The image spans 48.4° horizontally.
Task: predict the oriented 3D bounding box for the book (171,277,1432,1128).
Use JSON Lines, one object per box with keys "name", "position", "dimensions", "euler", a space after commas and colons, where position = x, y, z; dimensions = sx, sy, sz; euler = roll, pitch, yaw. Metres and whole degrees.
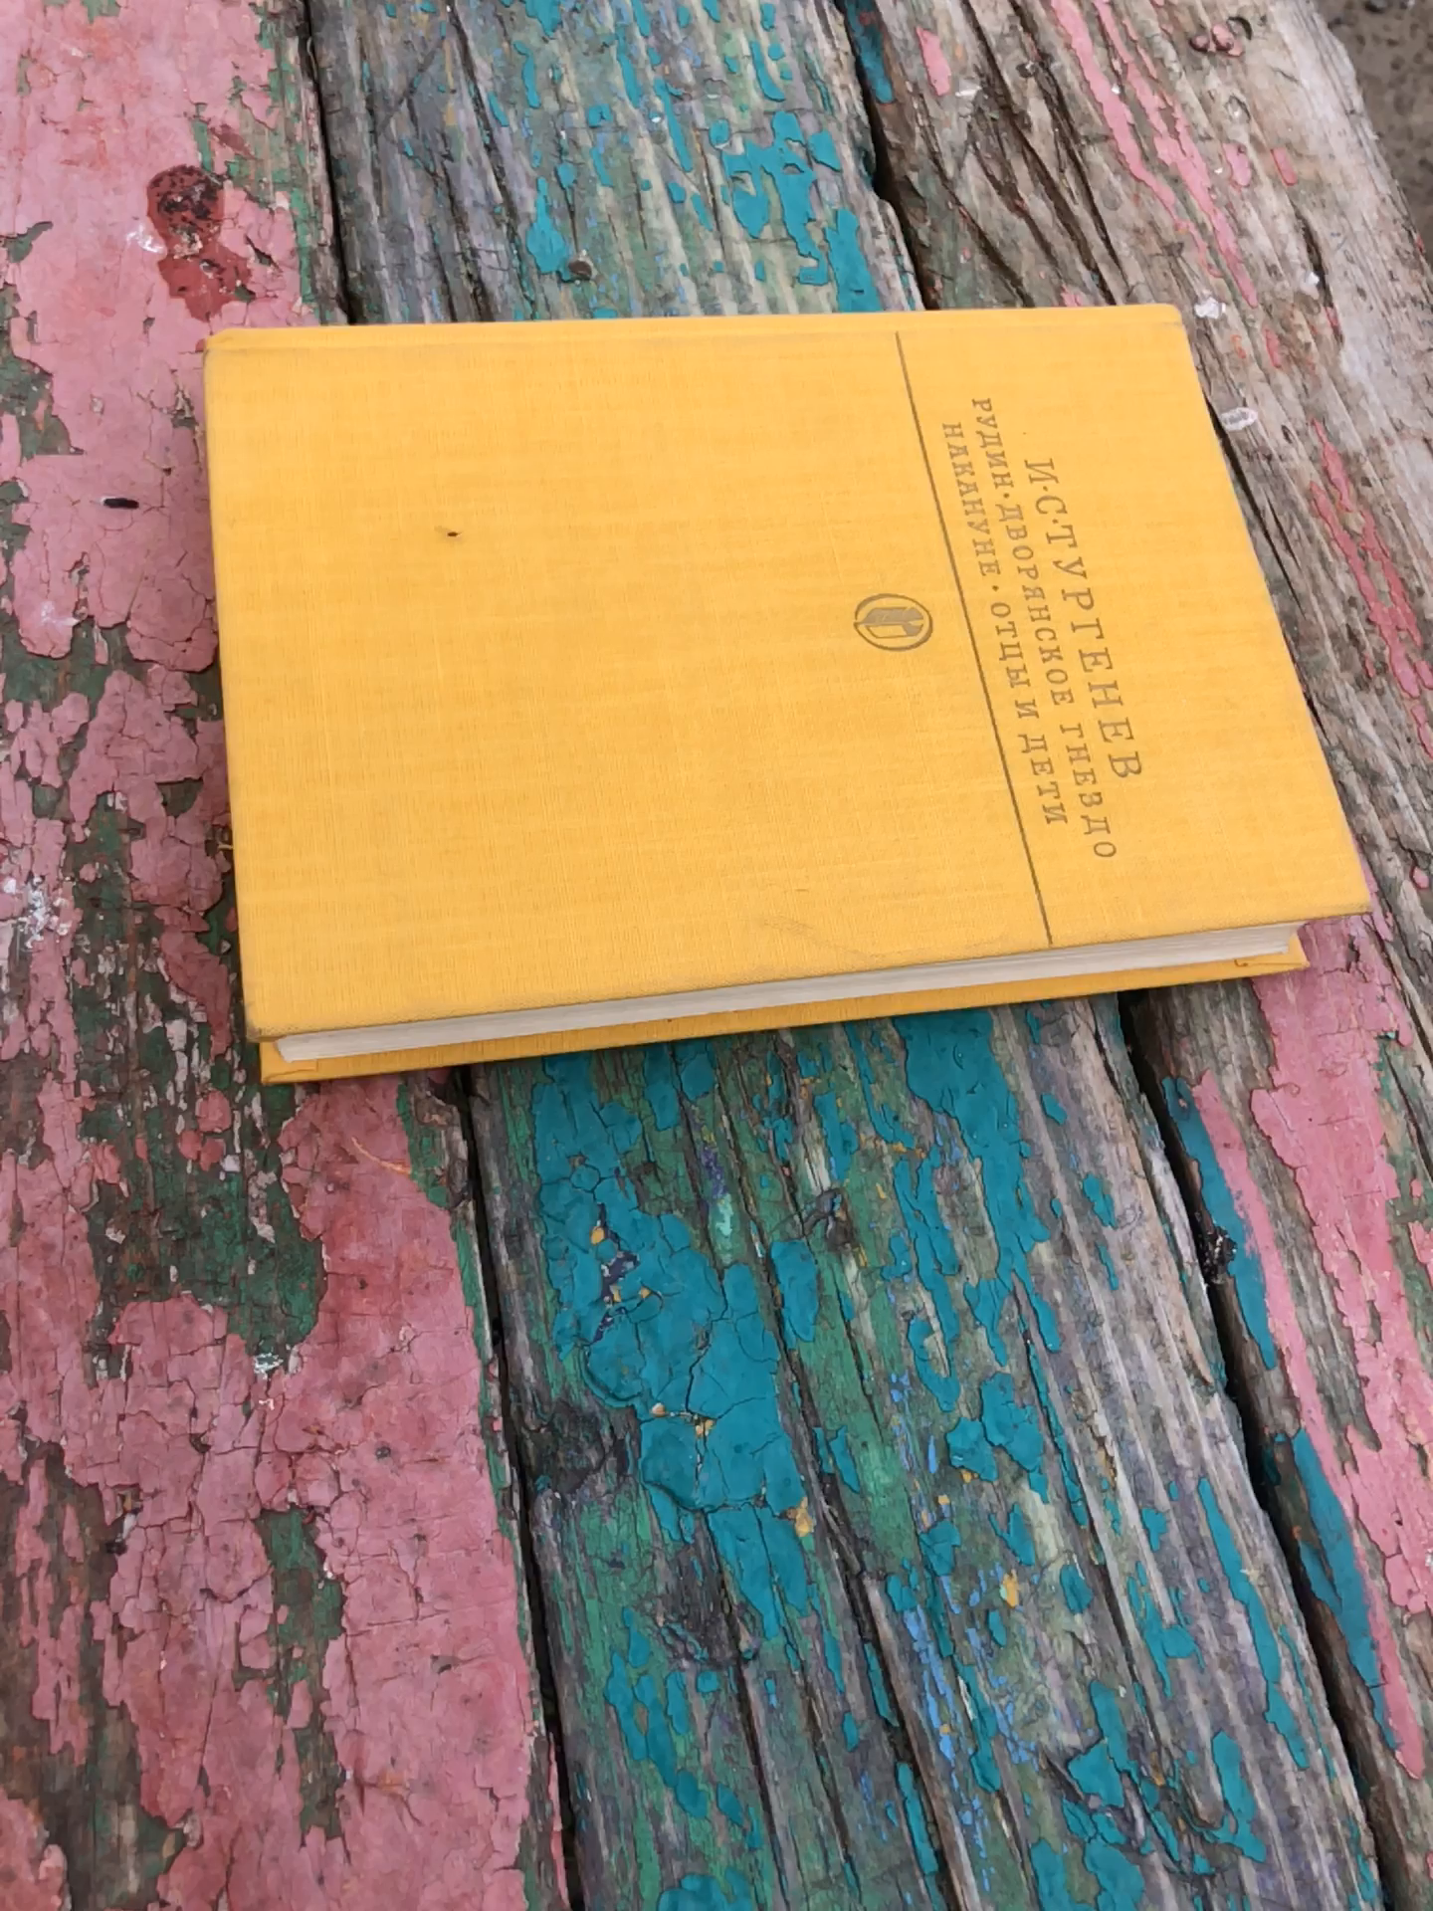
{"name": "book", "position": [0.014, -0.058, 0.310], "dimensions": [0.217, 0.032, 0.153], "euler": [-6, 70, -12]}
